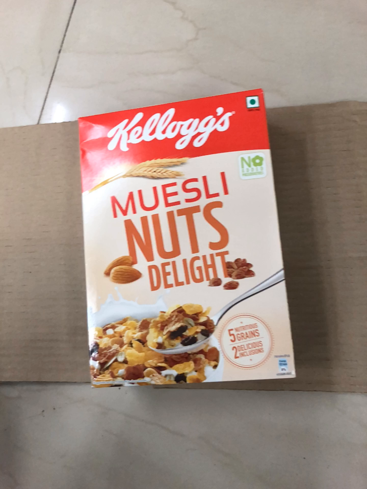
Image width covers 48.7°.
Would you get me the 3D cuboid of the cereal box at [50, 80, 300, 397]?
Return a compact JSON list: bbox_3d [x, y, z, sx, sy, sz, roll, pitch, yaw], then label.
[{"bbox_3d":[-0.008,-0.001,0.387,0.190,0.080,0.250,-7,86,9],"label":"cereal box"}]
